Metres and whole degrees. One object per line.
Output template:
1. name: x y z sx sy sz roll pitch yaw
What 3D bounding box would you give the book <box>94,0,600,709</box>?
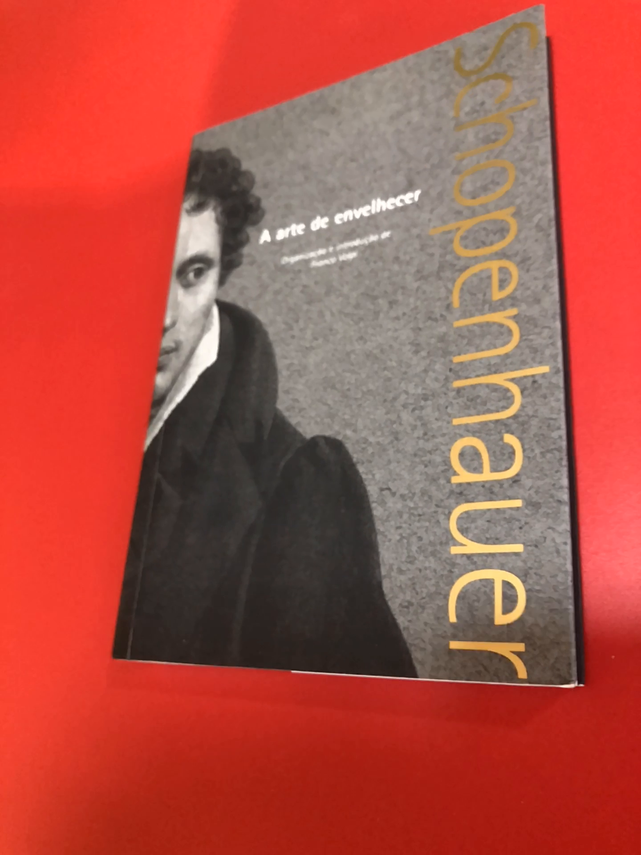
1. book: 0.004 -0.027 0.217 0.137 0.017 0.196 -7 68 29
